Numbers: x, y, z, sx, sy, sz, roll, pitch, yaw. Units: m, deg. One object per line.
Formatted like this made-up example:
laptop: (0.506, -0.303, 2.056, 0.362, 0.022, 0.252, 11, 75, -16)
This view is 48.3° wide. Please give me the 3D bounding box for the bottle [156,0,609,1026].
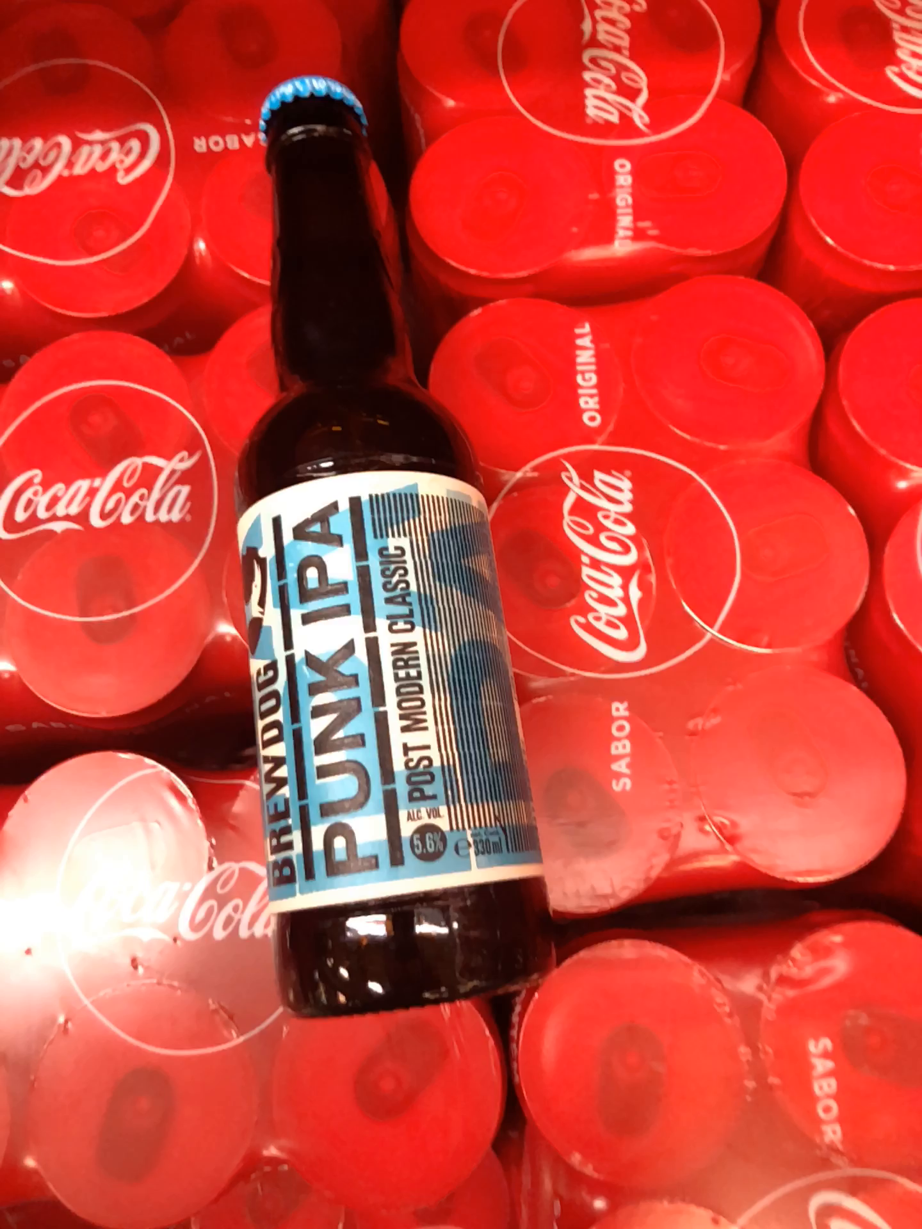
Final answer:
bottle: (-0.021, -0.039, 0.230, 0.060, 0.060, 0.230, -8, 76, -2)
